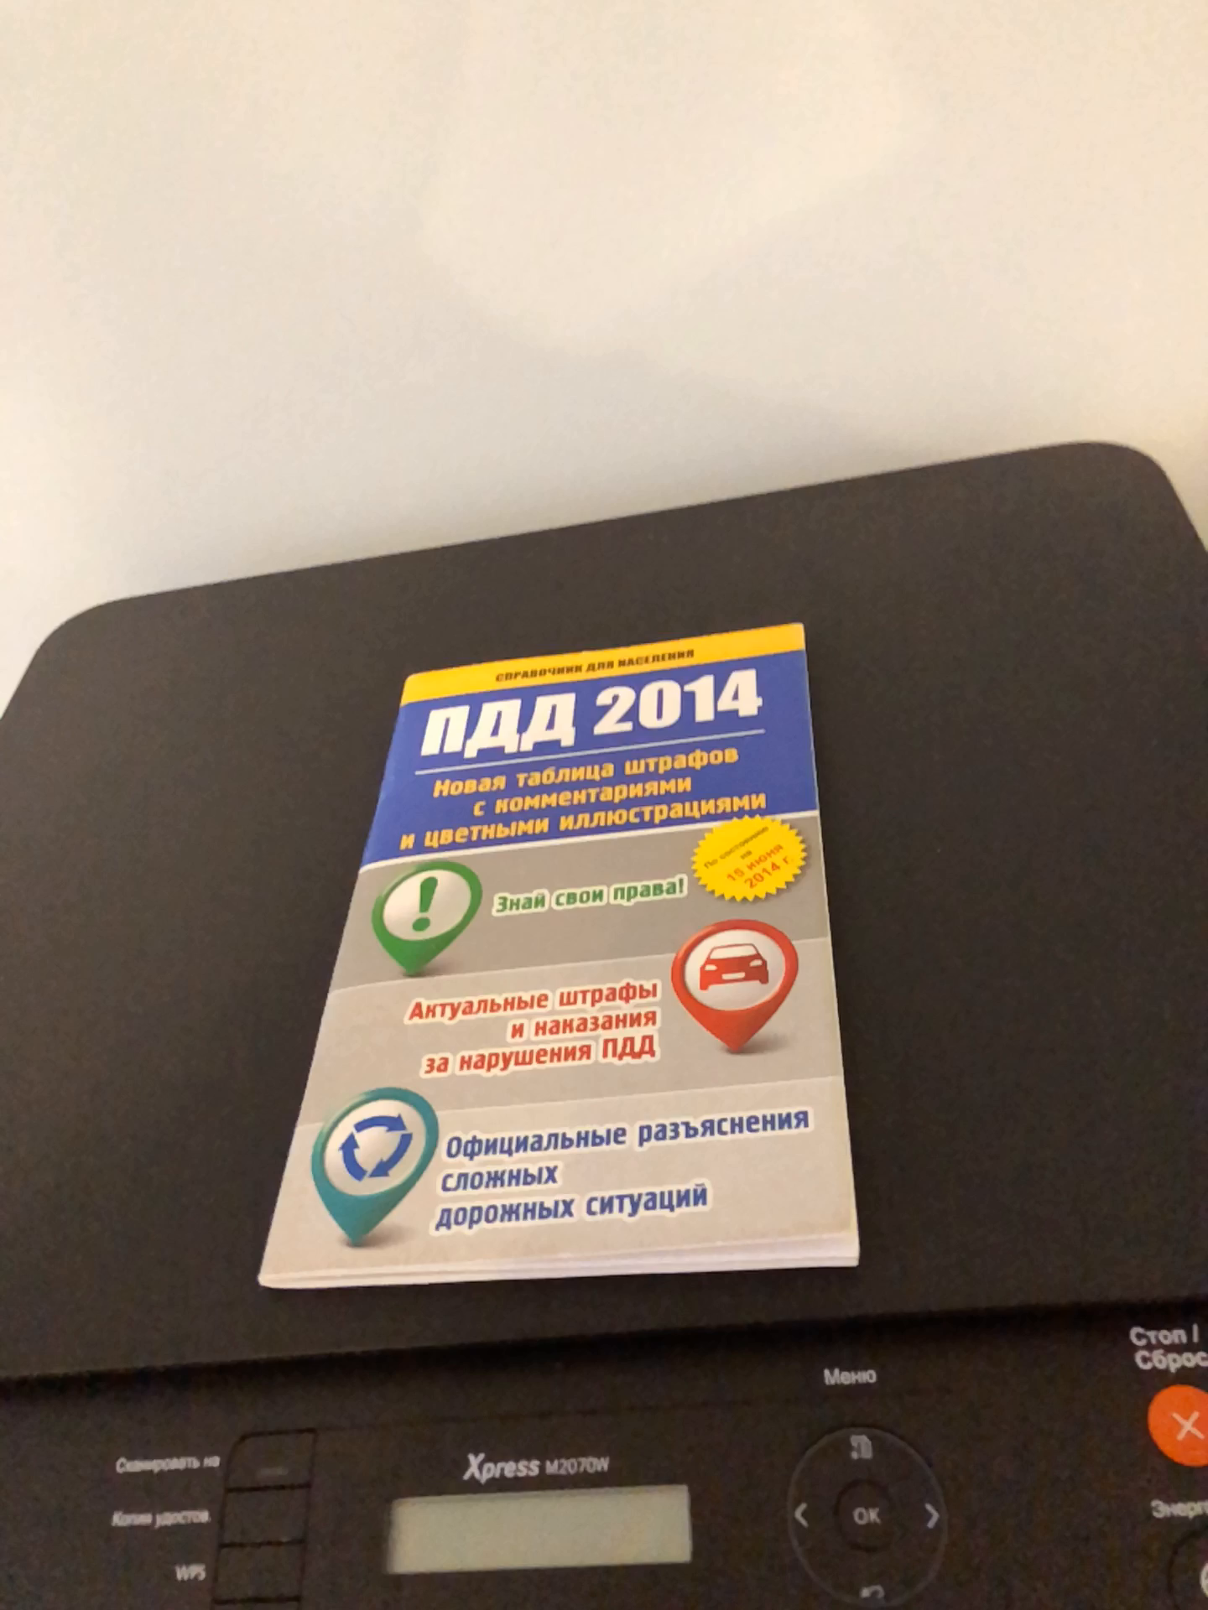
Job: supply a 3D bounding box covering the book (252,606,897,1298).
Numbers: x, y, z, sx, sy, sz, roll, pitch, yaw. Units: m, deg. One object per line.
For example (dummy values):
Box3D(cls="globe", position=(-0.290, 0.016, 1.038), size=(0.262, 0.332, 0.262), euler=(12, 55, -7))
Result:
Box3D(cls="book", position=(-0.004, 0.023, 0.338), size=(0.130, 0.010, 0.201), euler=(-6, 44, 10))
